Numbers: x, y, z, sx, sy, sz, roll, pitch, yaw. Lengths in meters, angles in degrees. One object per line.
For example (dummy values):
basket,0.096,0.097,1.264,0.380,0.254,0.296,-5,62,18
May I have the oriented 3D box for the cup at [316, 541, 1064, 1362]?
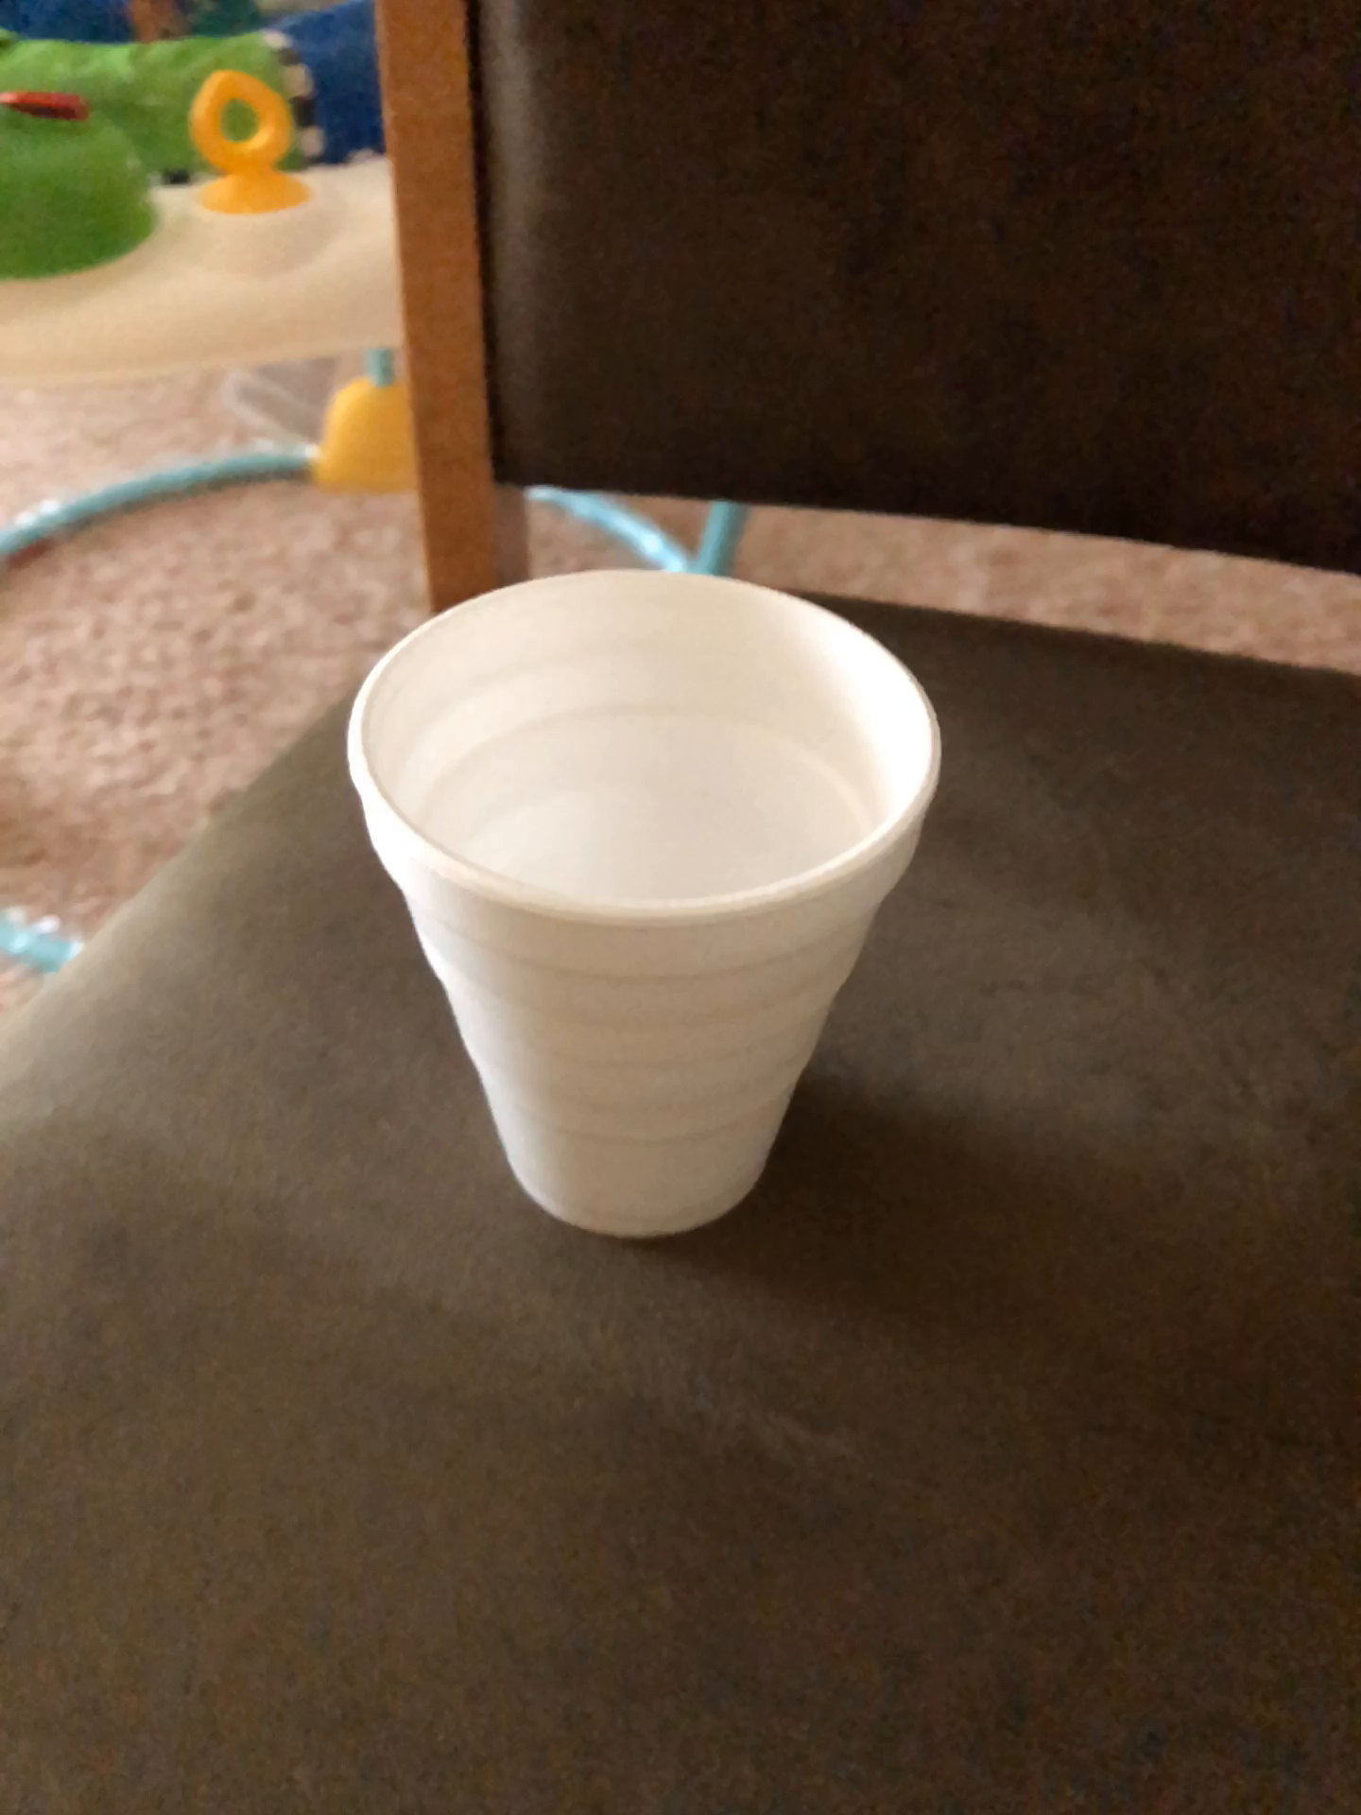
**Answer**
cup,-0.005,0.004,0.241,0.090,0.080,0.090,1,44,-1
